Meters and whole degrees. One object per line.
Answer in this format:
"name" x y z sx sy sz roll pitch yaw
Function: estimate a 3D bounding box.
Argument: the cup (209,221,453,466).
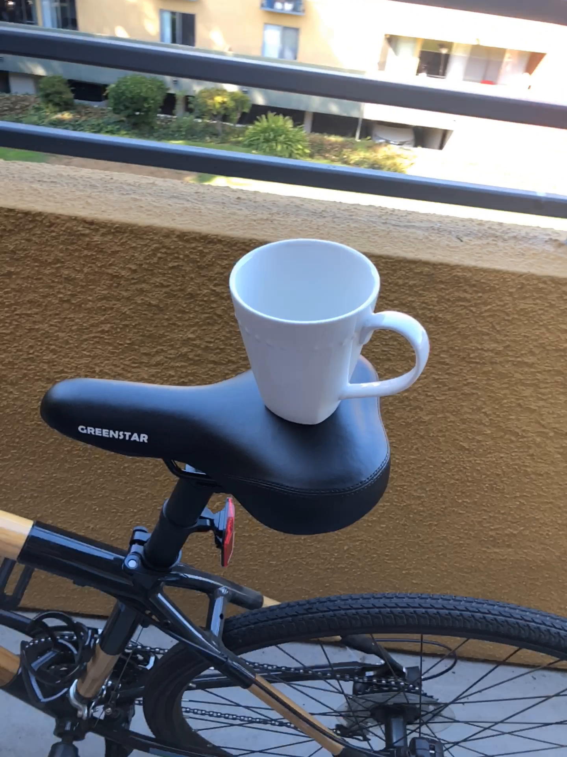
"cup" 0.030 -0.027 0.423 0.130 0.099 0.090 18 41 12
